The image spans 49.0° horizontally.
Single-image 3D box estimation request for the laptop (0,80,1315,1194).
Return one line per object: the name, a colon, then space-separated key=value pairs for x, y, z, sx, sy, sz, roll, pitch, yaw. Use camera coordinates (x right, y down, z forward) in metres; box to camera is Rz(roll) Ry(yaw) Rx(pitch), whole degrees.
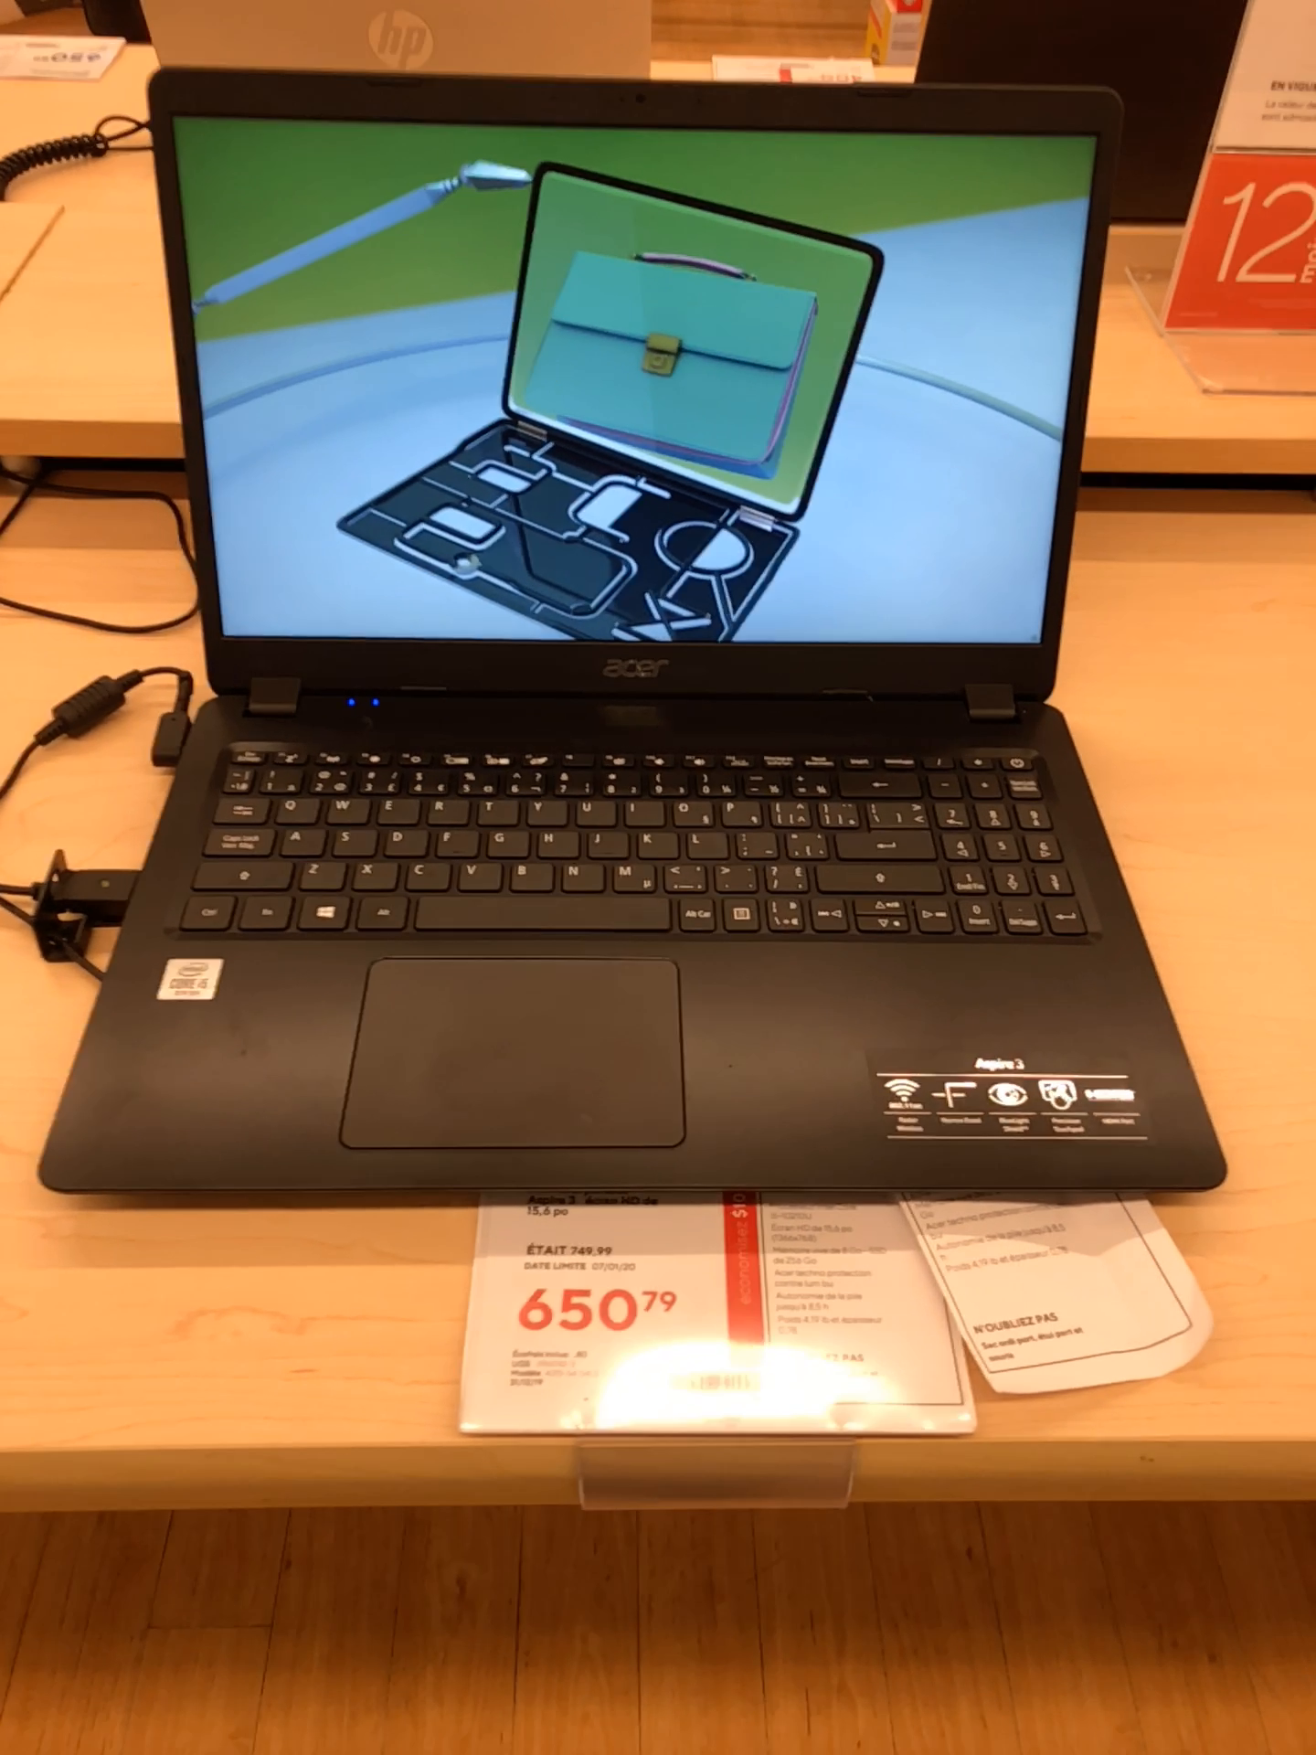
laptop: x=-0.005 y=-0.096 z=0.483 sx=0.354 sy=0.210 sz=0.329 roll=1 pitch=44 yaw=-2
